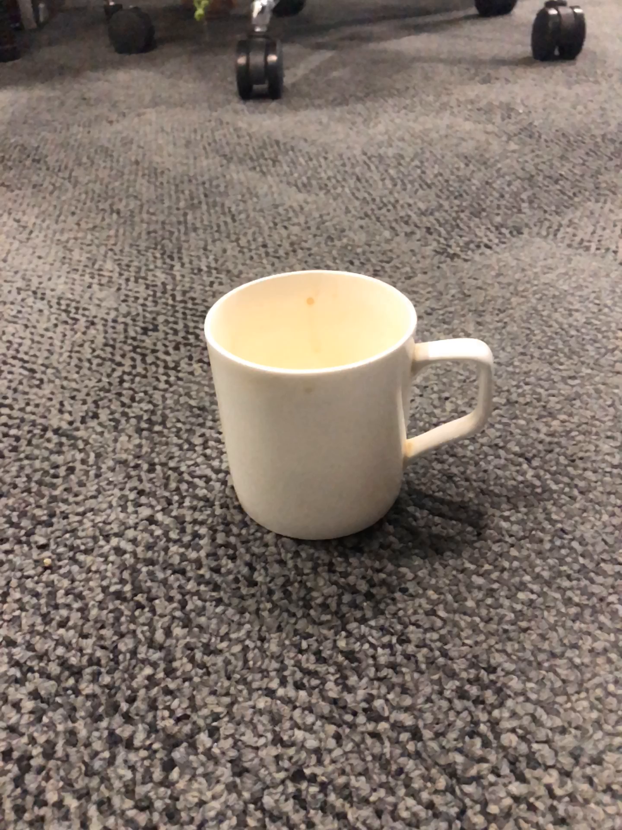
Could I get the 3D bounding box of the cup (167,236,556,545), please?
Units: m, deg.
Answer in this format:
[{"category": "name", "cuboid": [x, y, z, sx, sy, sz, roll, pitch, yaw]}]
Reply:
[{"category": "cup", "cuboid": [0.015, -0.009, 0.228, 0.100, 0.070, 0.070, -2, 36, 2]}]
